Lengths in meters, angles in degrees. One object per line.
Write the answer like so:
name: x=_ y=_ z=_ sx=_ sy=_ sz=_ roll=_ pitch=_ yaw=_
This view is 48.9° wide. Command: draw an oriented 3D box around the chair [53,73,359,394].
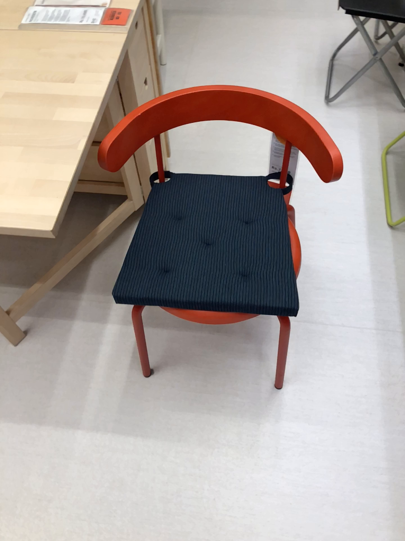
chair: x=0.037 y=-0.052 z=1.173 sx=0.520 sy=0.677 sz=0.502 roll=4 pitch=57 yaw=5
